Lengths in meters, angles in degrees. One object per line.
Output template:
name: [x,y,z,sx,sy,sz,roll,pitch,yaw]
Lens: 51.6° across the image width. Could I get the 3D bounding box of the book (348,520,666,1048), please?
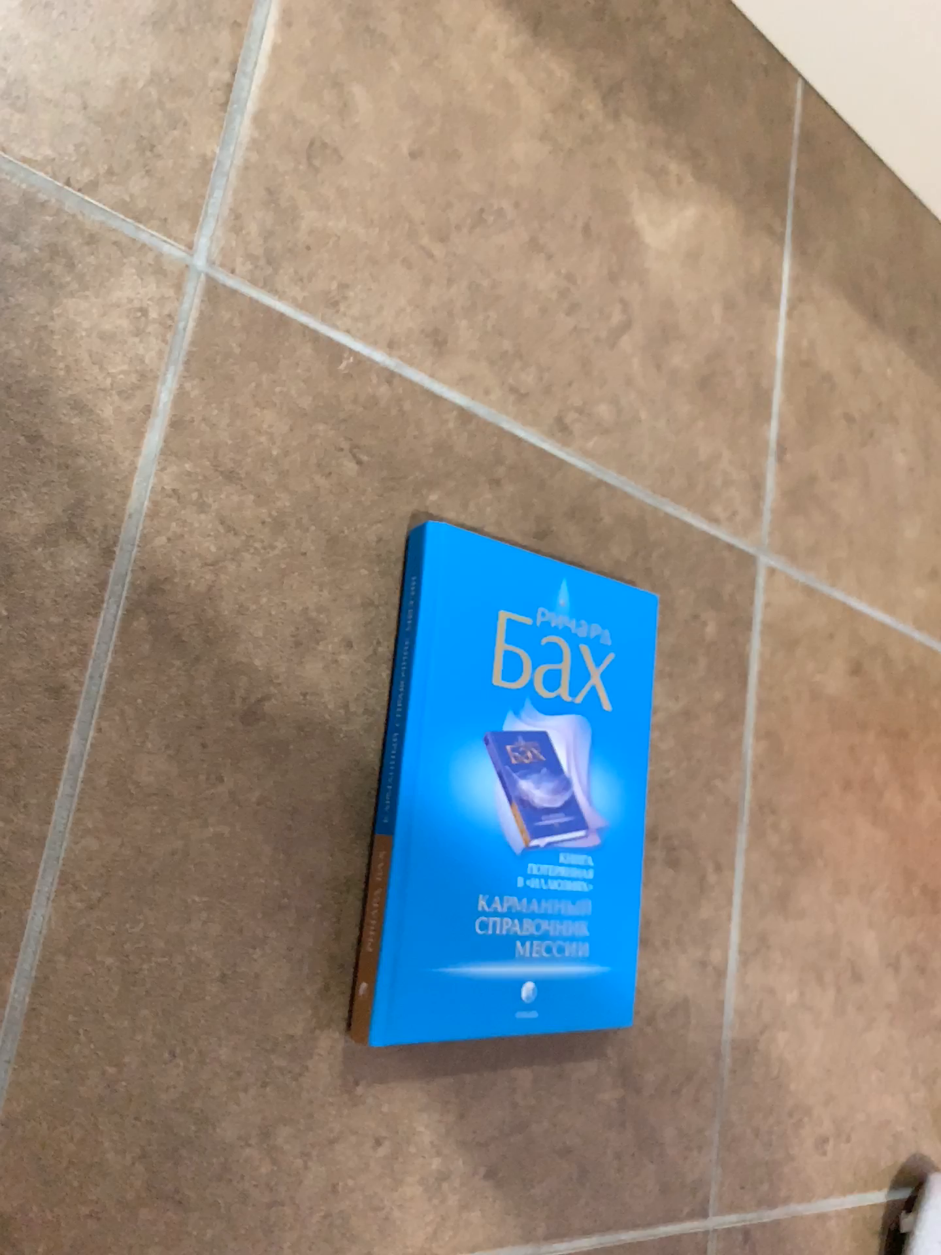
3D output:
book: [0.021,0.059,0.355,0.123,0.015,0.169,15,75,-37]
